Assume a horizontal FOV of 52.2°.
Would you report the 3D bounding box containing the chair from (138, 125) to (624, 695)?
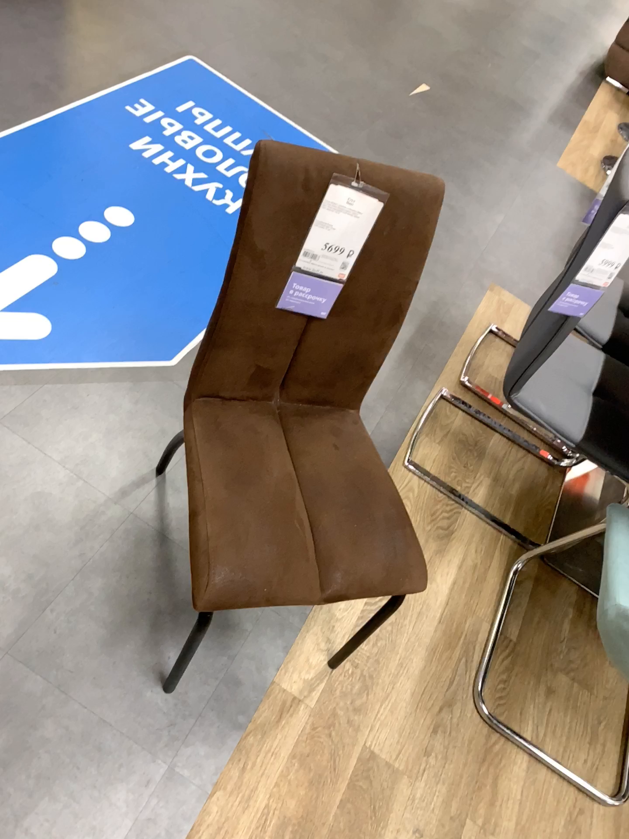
[{"bbox_3d":[-0.029,0.079,1.263,0.441,0.965,0.591,2,55,-24],"label":"chair"}]
